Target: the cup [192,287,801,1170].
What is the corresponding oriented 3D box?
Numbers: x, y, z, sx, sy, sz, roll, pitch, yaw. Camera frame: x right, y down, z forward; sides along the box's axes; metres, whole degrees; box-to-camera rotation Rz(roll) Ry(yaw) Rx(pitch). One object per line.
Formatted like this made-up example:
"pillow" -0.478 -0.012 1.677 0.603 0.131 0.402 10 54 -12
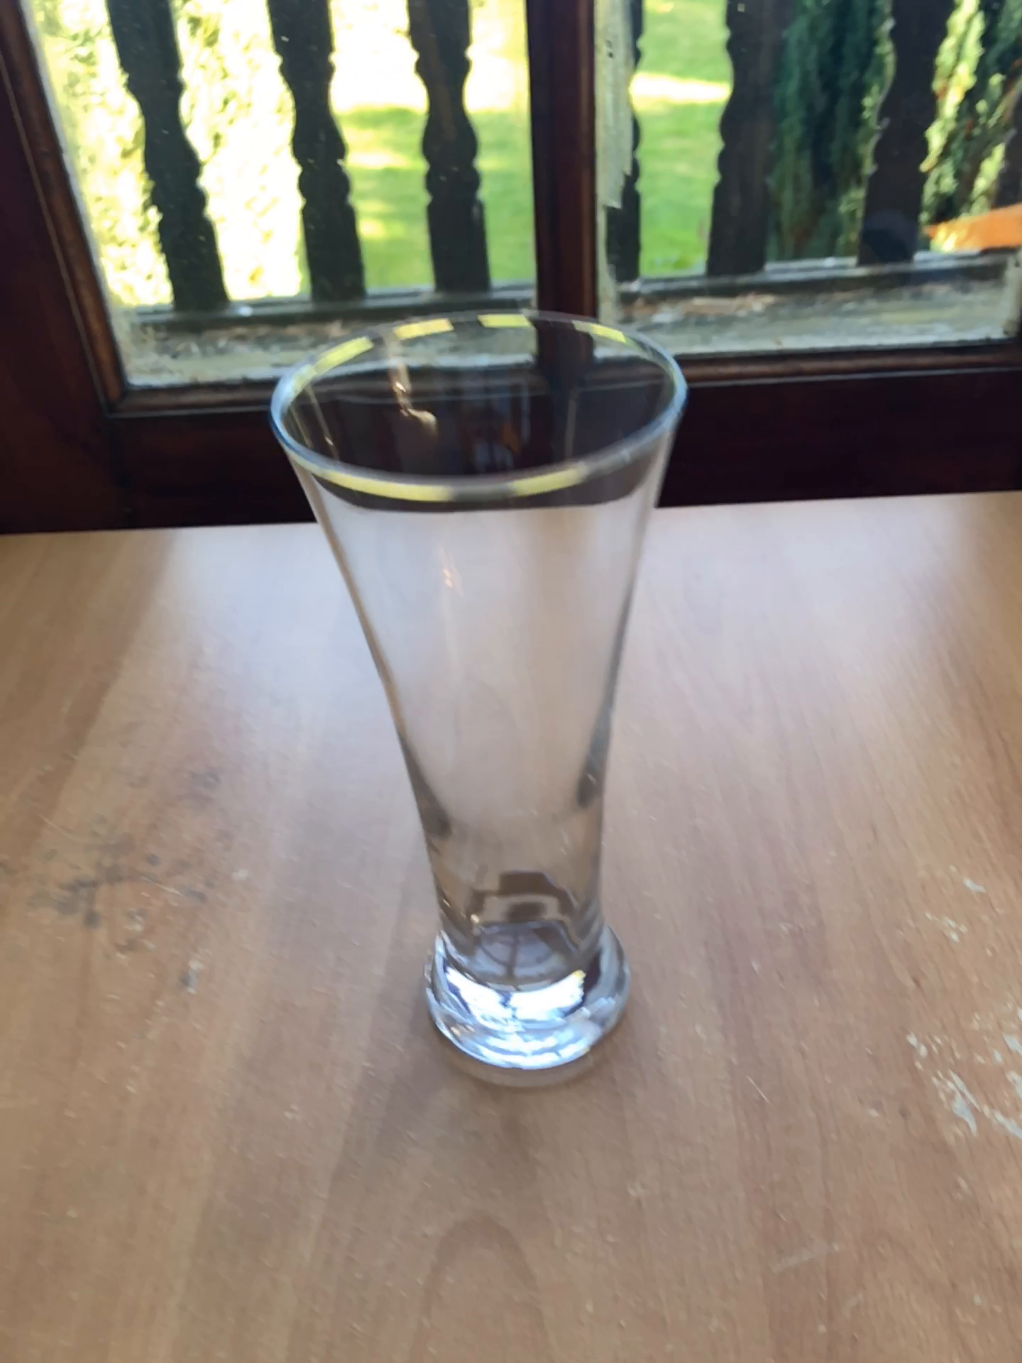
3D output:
"cup" 0.000 0.013 0.258 0.082 0.168 0.077 -1 36 1
